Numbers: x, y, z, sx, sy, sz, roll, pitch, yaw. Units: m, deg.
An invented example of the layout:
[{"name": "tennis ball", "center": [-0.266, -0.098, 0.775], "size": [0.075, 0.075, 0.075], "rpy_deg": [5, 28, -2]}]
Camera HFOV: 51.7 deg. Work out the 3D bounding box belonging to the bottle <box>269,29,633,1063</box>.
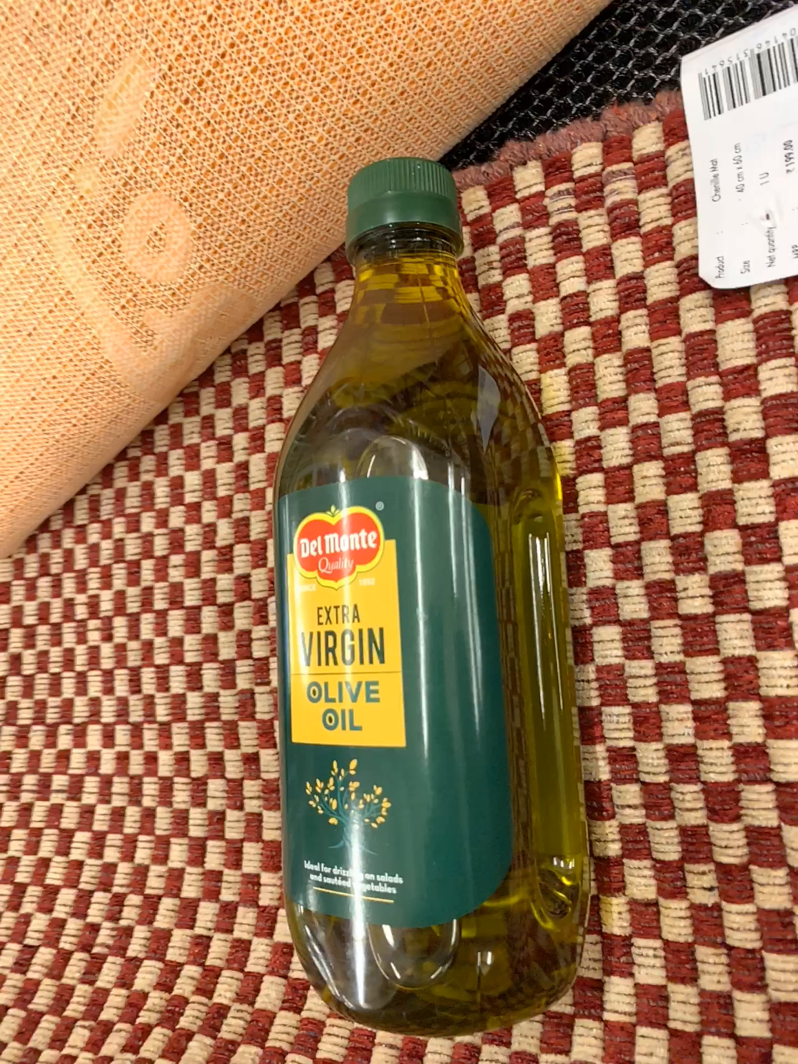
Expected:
[{"name": "bottle", "center": [0.017, 0.003, 0.249], "size": [0.080, 0.080, 0.250], "rpy_deg": [-4, 83, 25]}]
